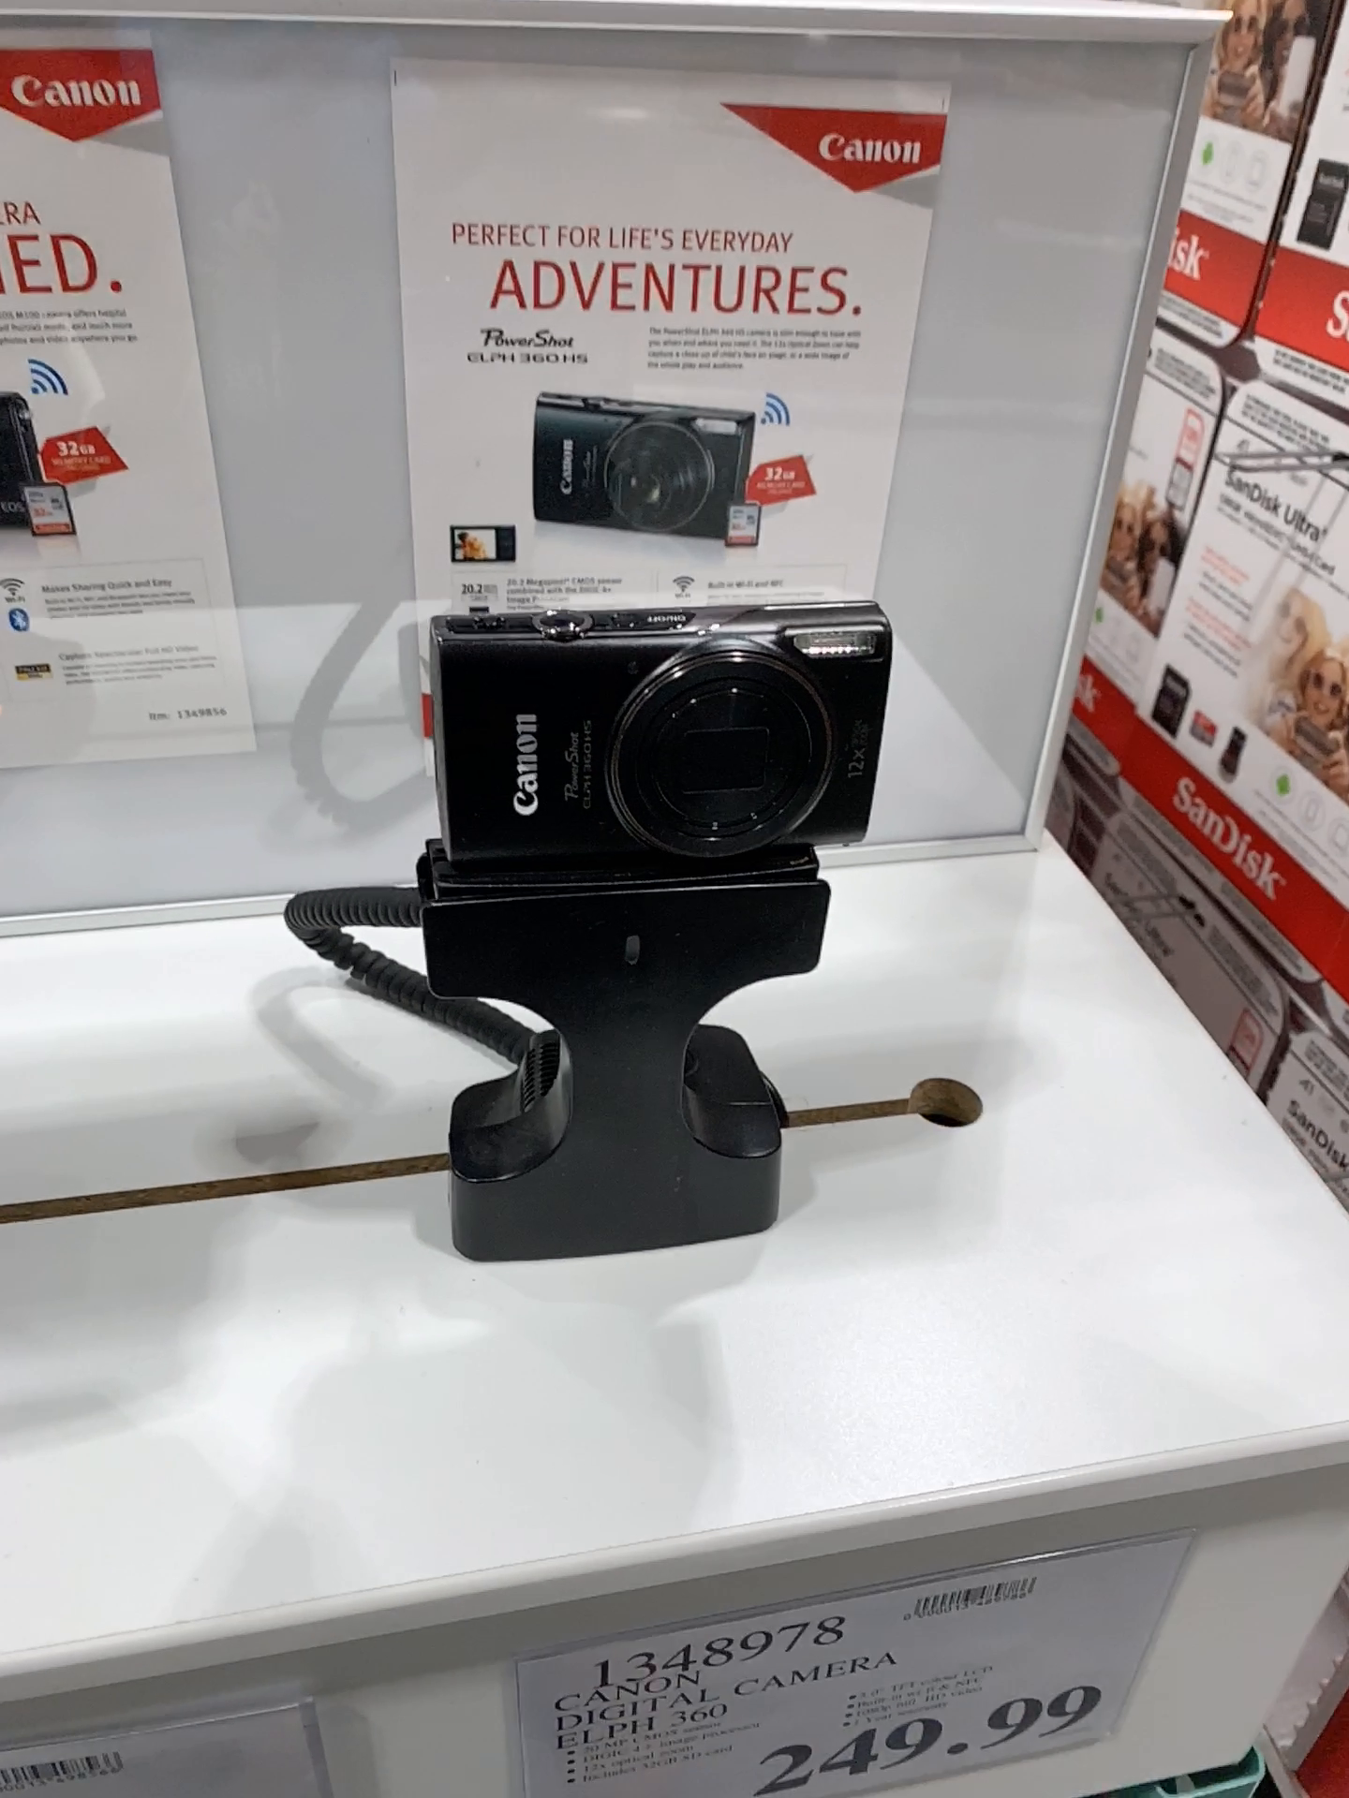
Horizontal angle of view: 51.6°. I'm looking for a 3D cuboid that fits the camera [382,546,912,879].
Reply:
[{"bbox_3d":[-0.008,-0.044,0.320,0.110,0.060,0.040,-3,34,-9],"label":"camera"}]
